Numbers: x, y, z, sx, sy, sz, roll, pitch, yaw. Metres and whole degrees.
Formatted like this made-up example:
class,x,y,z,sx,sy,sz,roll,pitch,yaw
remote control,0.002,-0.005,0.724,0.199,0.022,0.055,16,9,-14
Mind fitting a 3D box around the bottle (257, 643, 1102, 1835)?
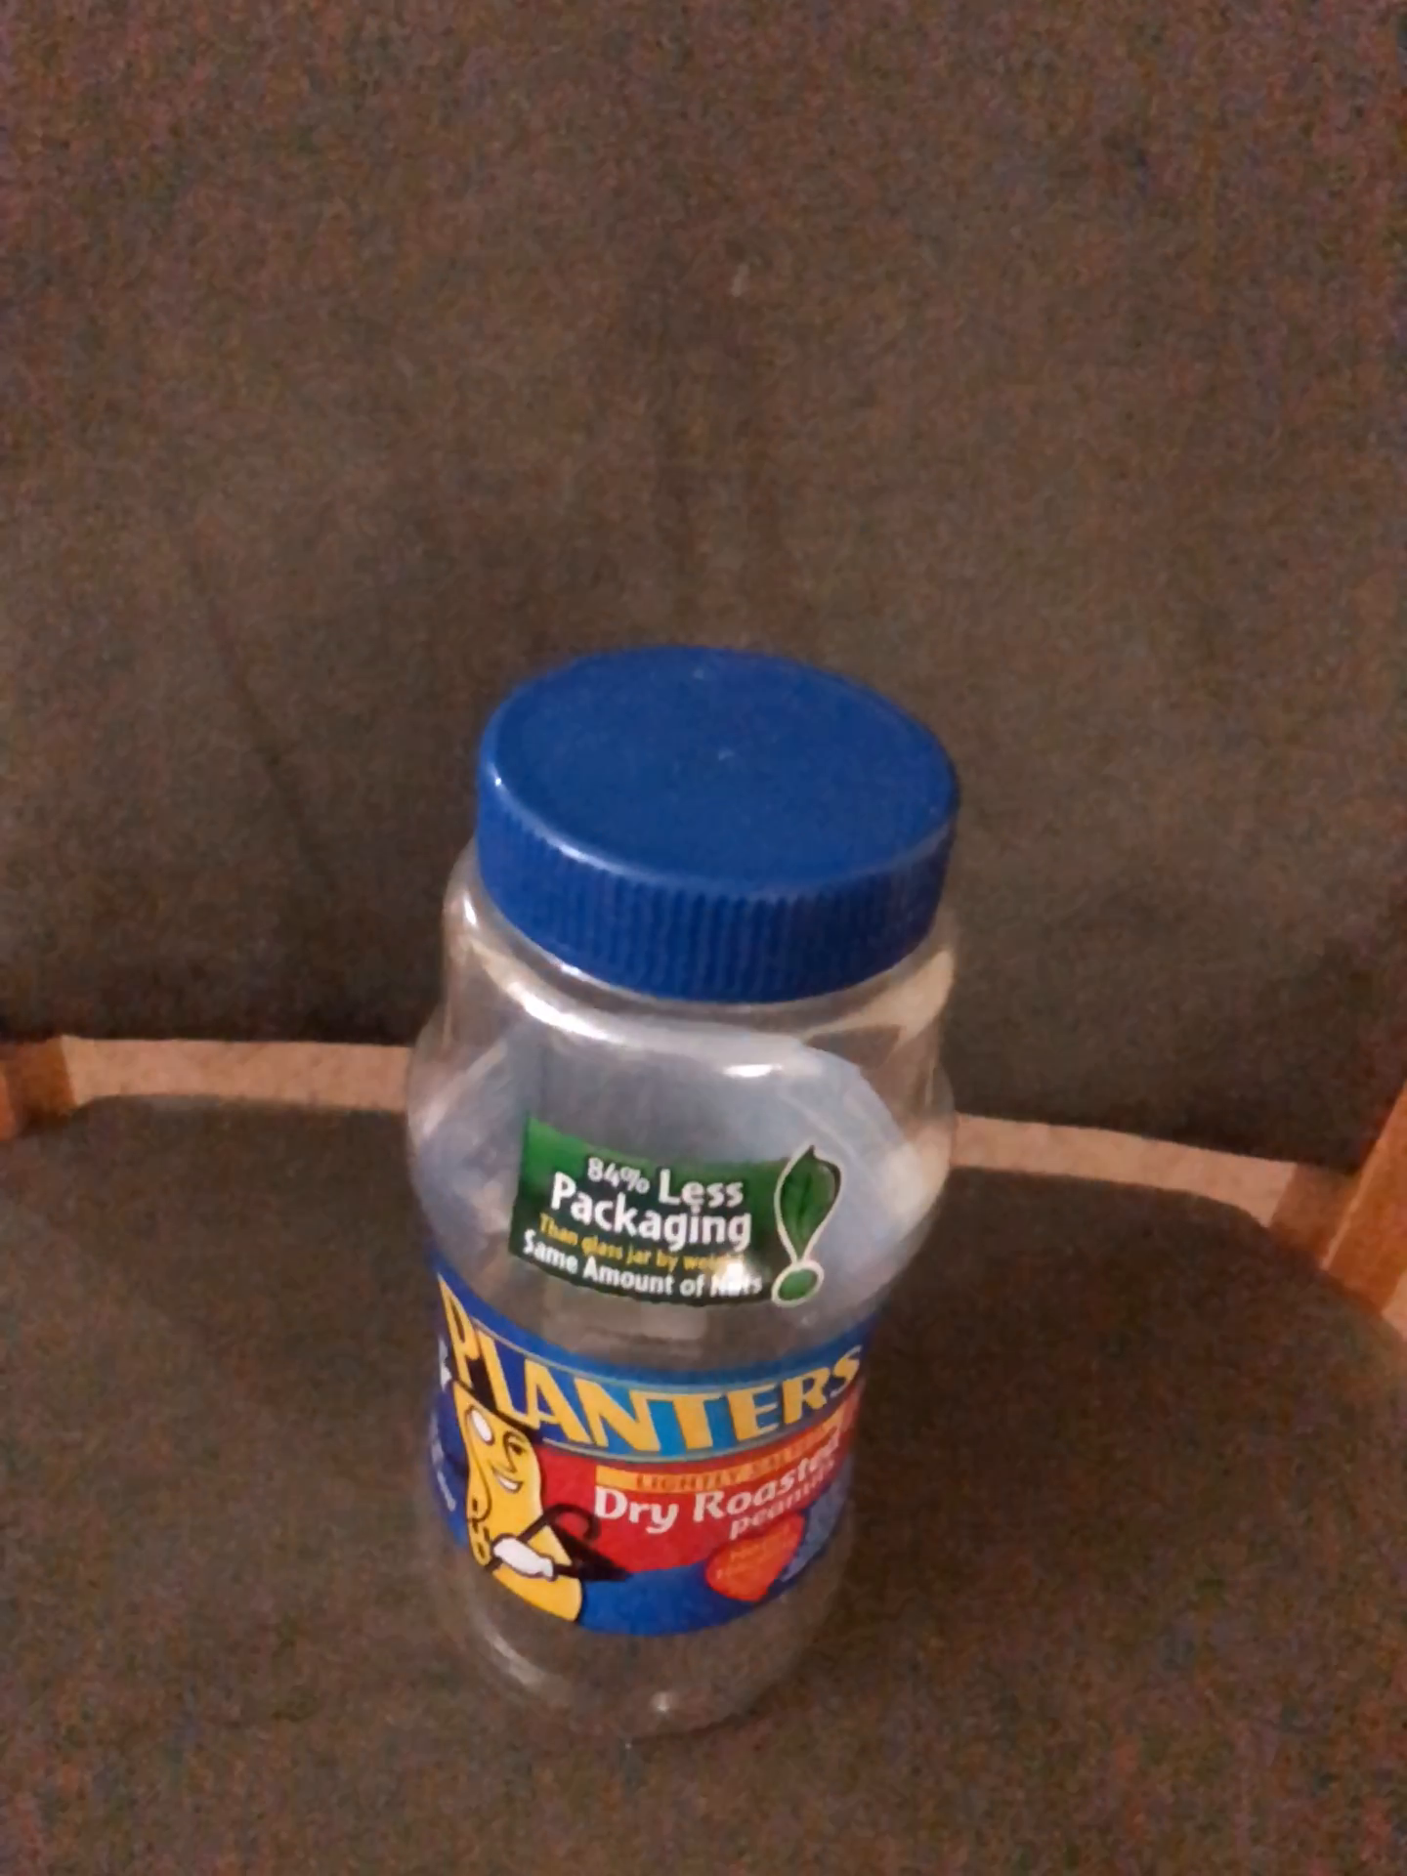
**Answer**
class,x,y,z,sx,sy,sz,roll,pitch,yaw
bottle,-0.007,0.054,0.248,0.090,0.170,0.080,8,37,2
